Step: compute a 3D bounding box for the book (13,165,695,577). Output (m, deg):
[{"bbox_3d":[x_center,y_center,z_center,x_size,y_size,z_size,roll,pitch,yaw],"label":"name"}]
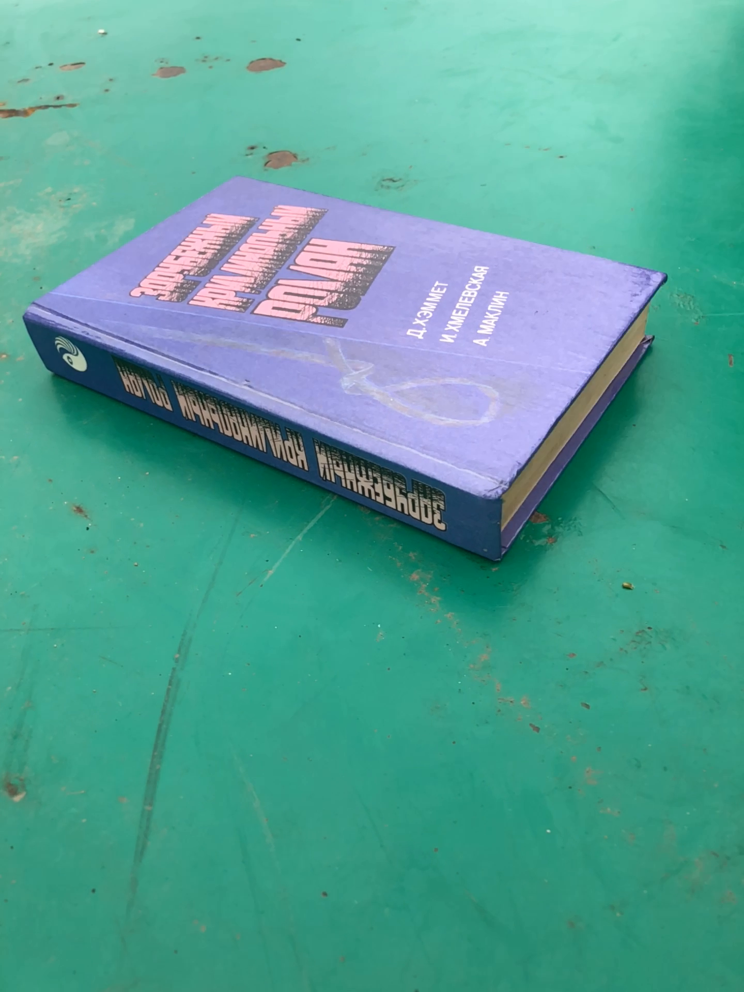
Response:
[{"bbox_3d":[-0.008,-0.065,0.312,0.209,0.030,0.137,23,51,26],"label":"book"}]
